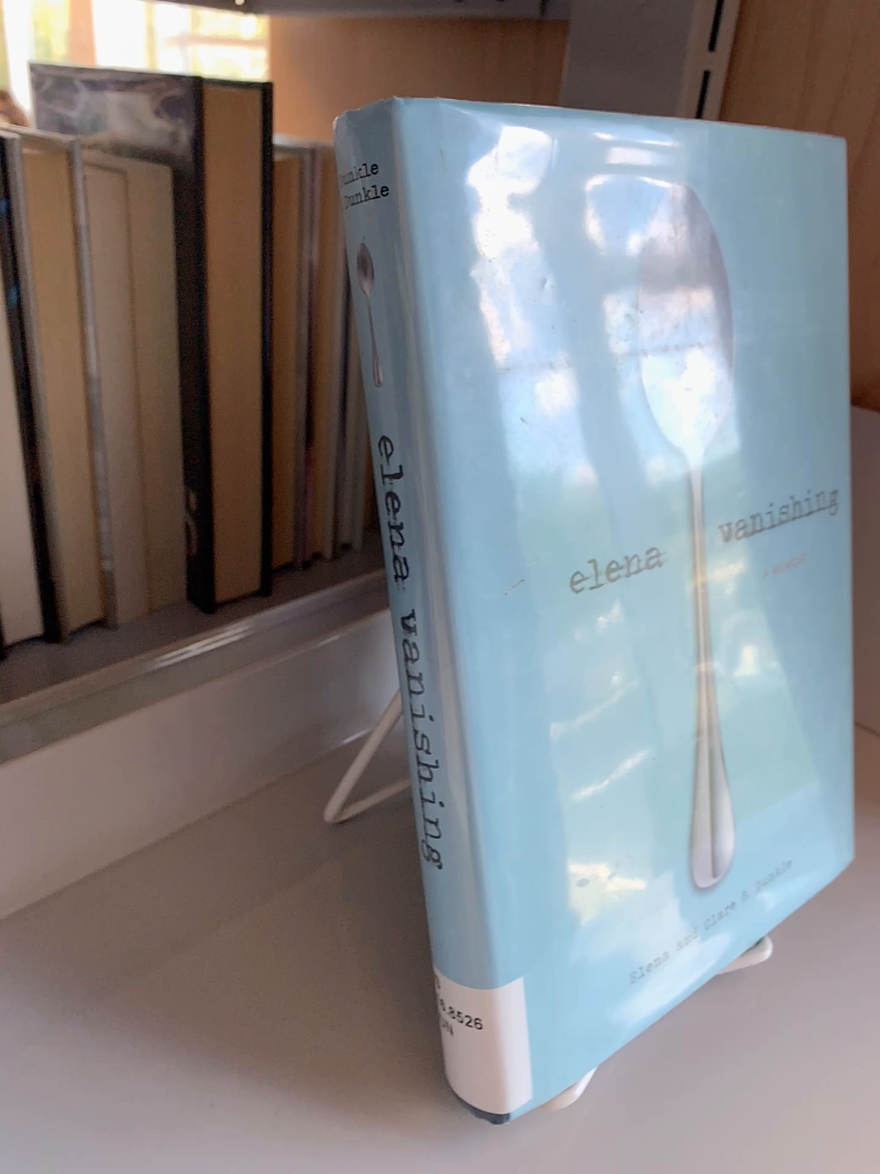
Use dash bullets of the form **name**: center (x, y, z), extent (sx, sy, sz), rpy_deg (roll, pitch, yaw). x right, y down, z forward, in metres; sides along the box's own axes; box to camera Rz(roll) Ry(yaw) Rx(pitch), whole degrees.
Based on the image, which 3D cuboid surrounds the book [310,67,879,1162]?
- **book**: center (0.060, -0.002, 0.224), extent (0.159, 0.203, 0.035), rpy_deg (-16, 16, -36)
